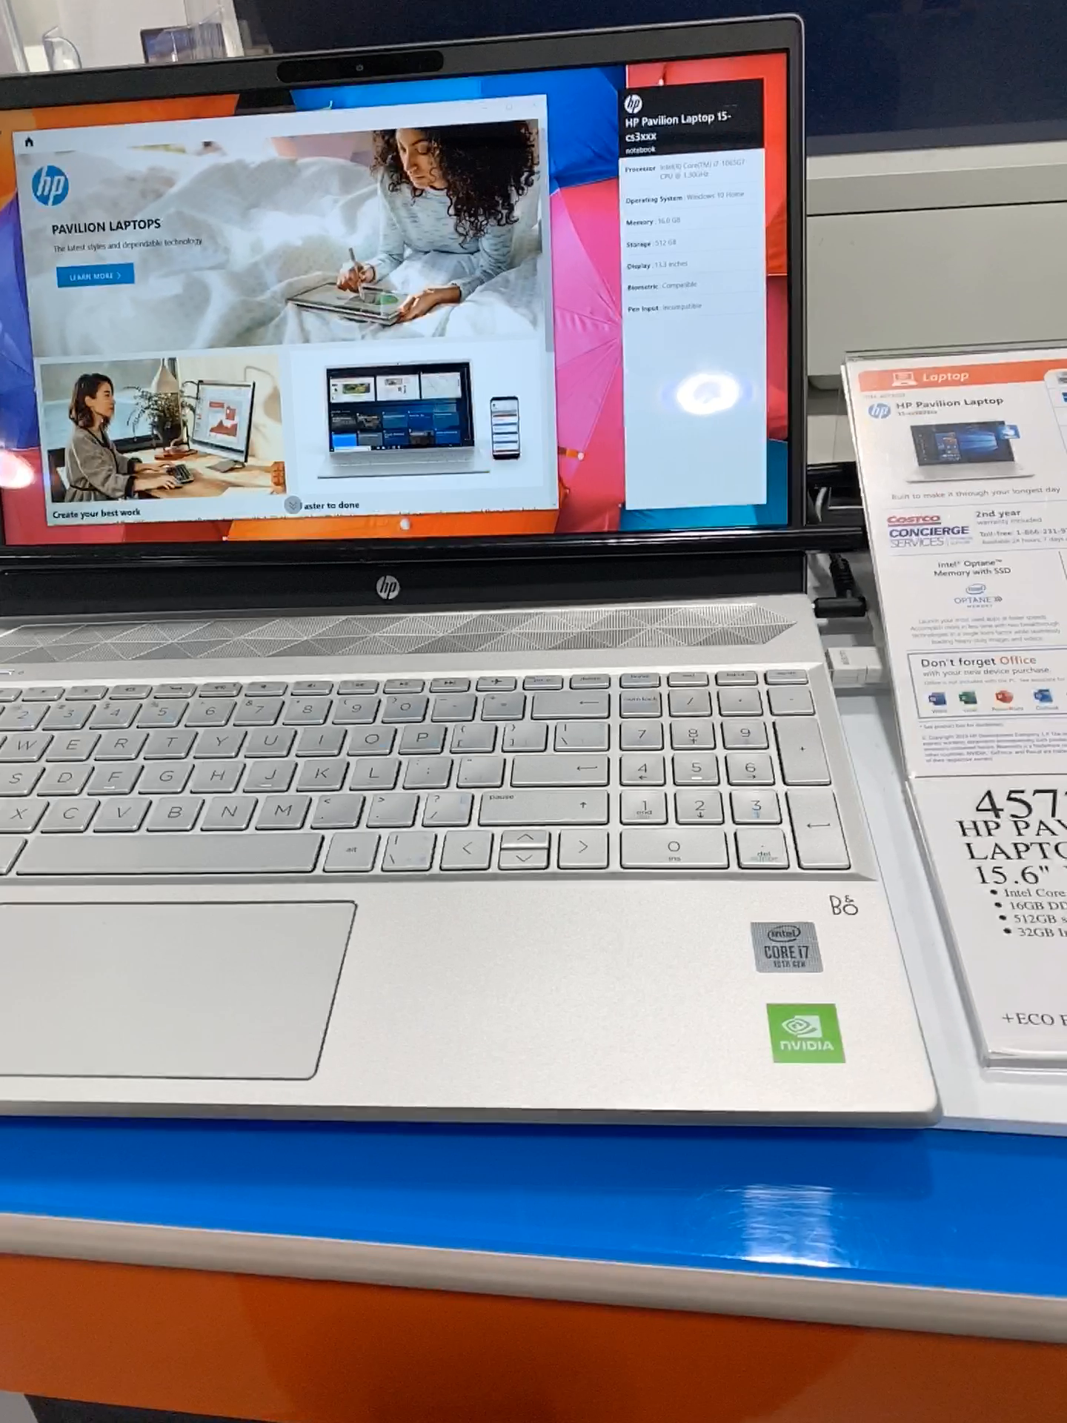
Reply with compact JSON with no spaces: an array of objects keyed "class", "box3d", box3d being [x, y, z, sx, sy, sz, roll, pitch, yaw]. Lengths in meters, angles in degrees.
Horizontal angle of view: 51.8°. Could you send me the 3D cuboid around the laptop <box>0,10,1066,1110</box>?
[{"class":"laptop","box3d":[-0.067,-0.080,0.342,0.332,0.175,0.335,-1,38,5]}]
